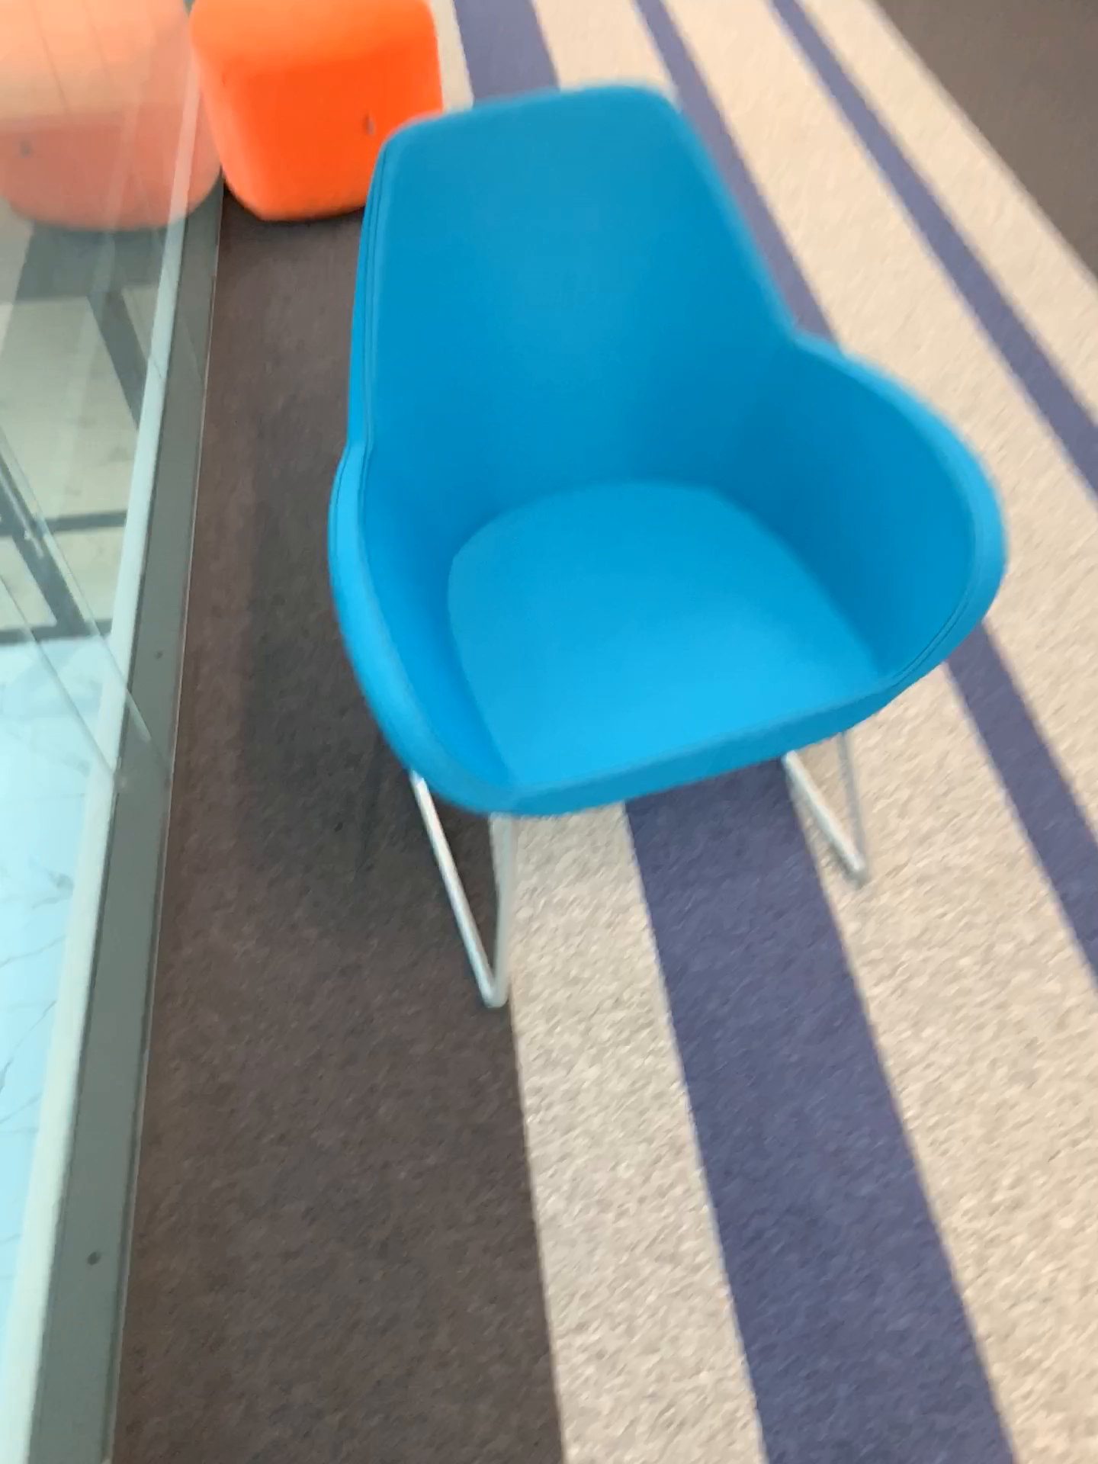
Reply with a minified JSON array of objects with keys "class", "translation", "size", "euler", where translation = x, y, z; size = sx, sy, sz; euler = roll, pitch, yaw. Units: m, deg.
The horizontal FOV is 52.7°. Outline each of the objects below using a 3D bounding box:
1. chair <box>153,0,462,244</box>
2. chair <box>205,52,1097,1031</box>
[{"class":"chair","translation":[-0.645,-1.716,2.978],"size":[0.640,0.396,0.653],"euler":[-15,53,-10]},{"class":"chair","translation":[0.068,-0.200,1.362],"size":[0.671,0.836,0.653],"euler":[-15,53,-10]}]
